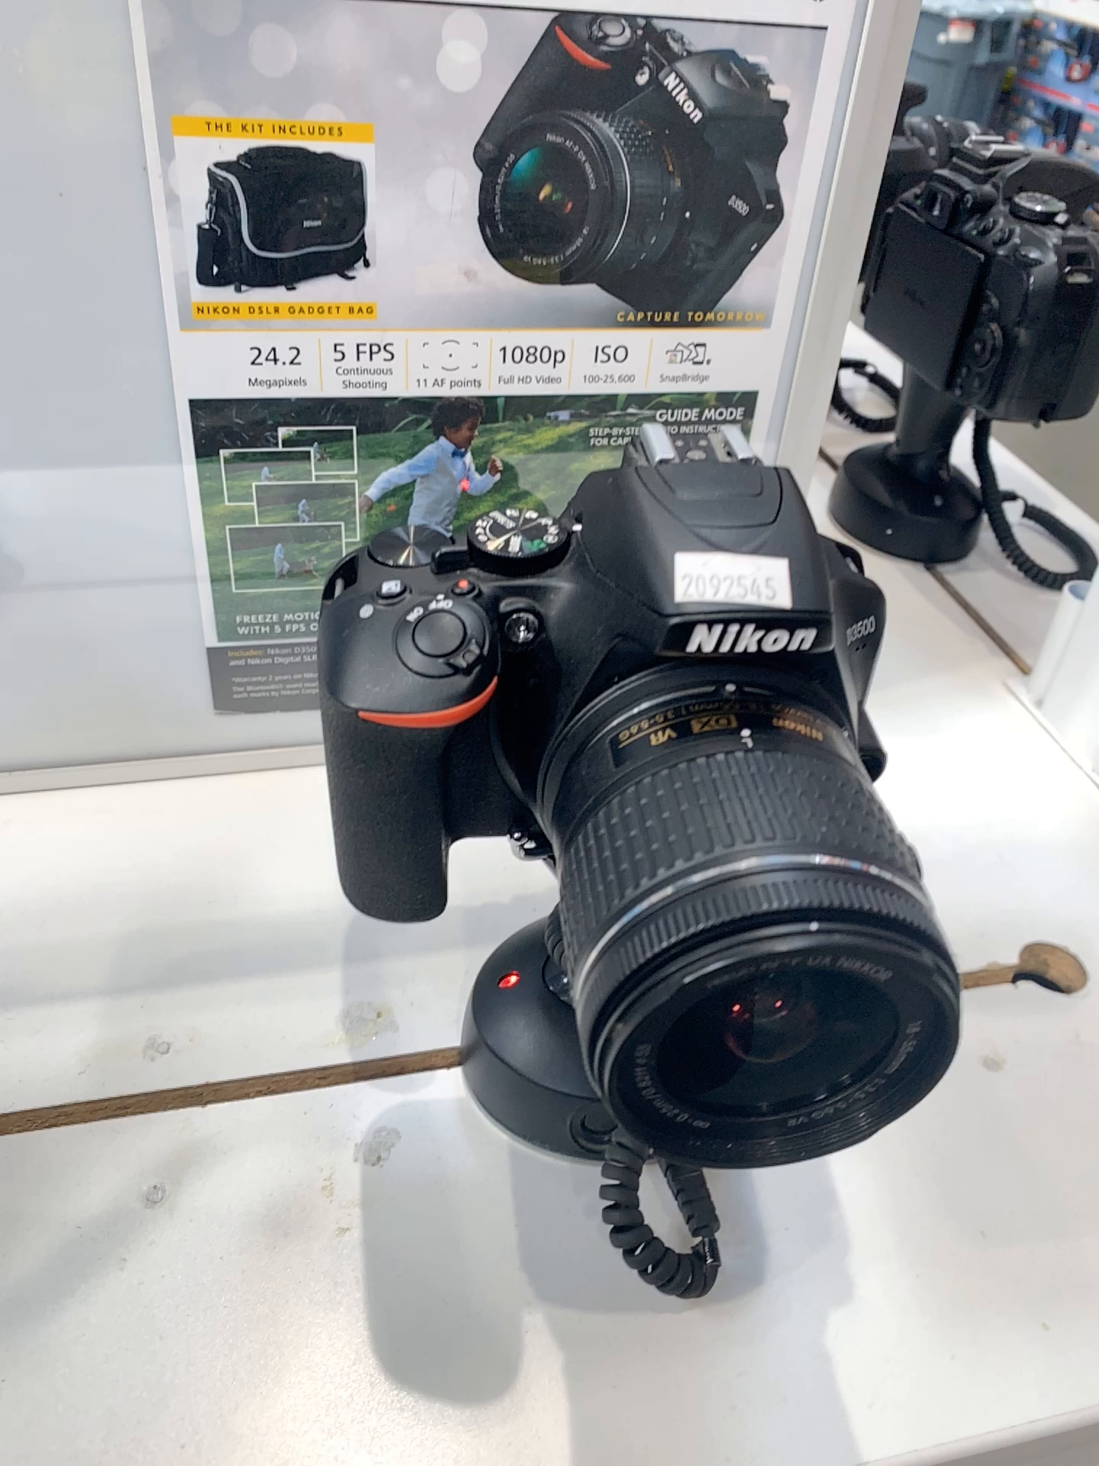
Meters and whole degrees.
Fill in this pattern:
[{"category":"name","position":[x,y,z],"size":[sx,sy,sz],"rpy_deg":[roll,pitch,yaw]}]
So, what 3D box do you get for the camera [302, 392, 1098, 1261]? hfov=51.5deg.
[{"category":"camera","position":[0.017,0.008,0.214],"size":[0.116,0.099,0.121],"rpy_deg":[-3,38,-9]}]
